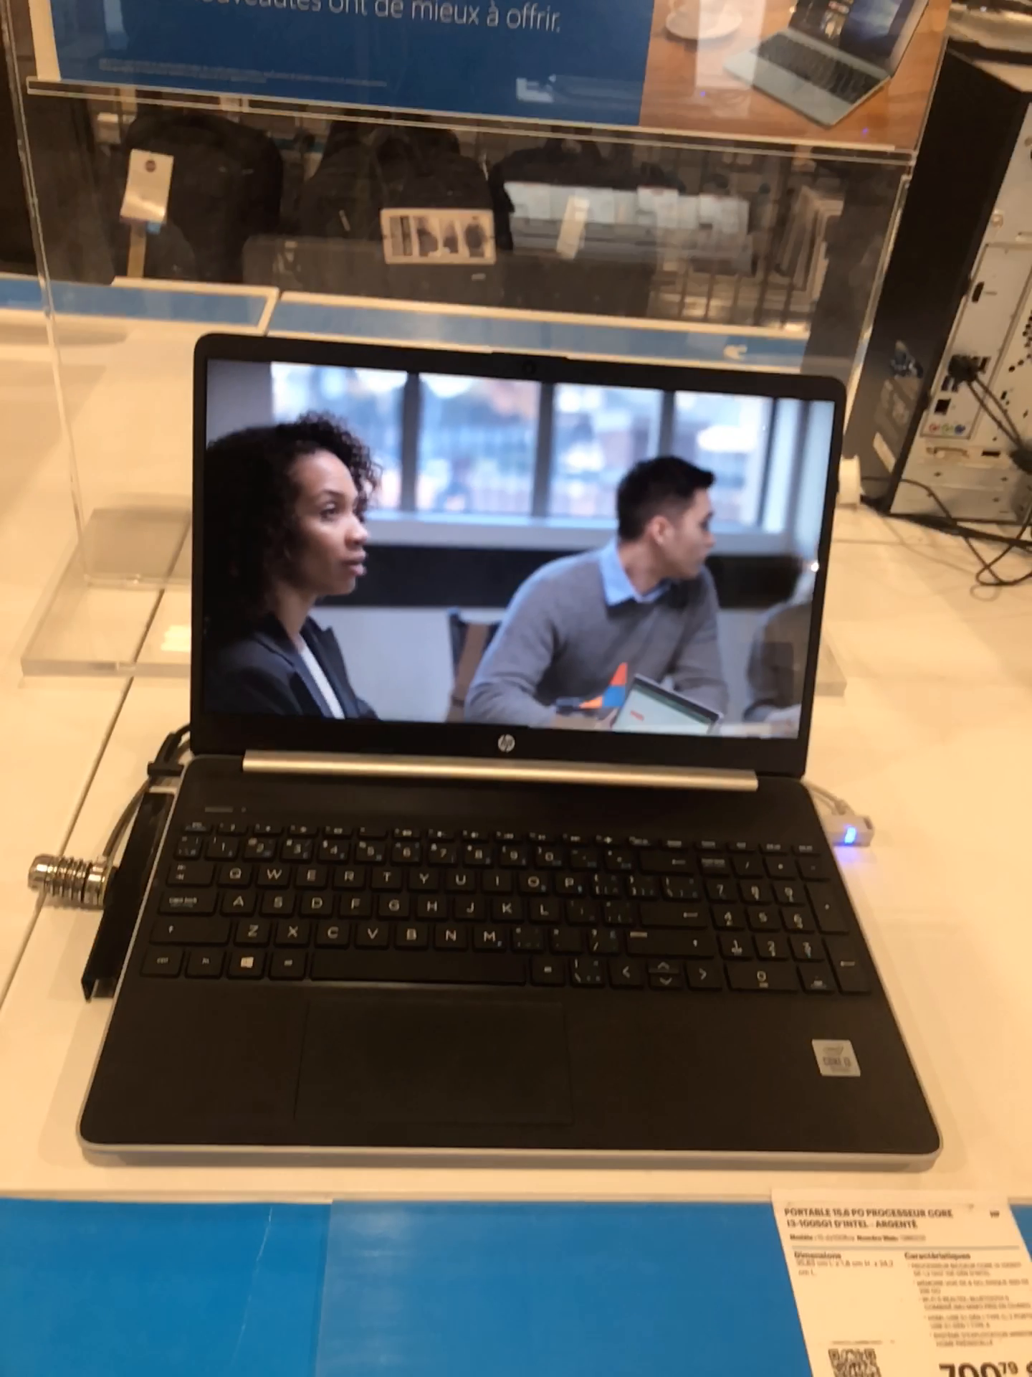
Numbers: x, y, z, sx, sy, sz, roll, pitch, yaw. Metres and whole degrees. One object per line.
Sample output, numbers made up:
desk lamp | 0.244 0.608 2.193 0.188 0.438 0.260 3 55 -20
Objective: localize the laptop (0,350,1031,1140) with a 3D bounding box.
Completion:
laptop | 0.006 0.006 0.541 0.346 0.196 0.335 3 36 -5
